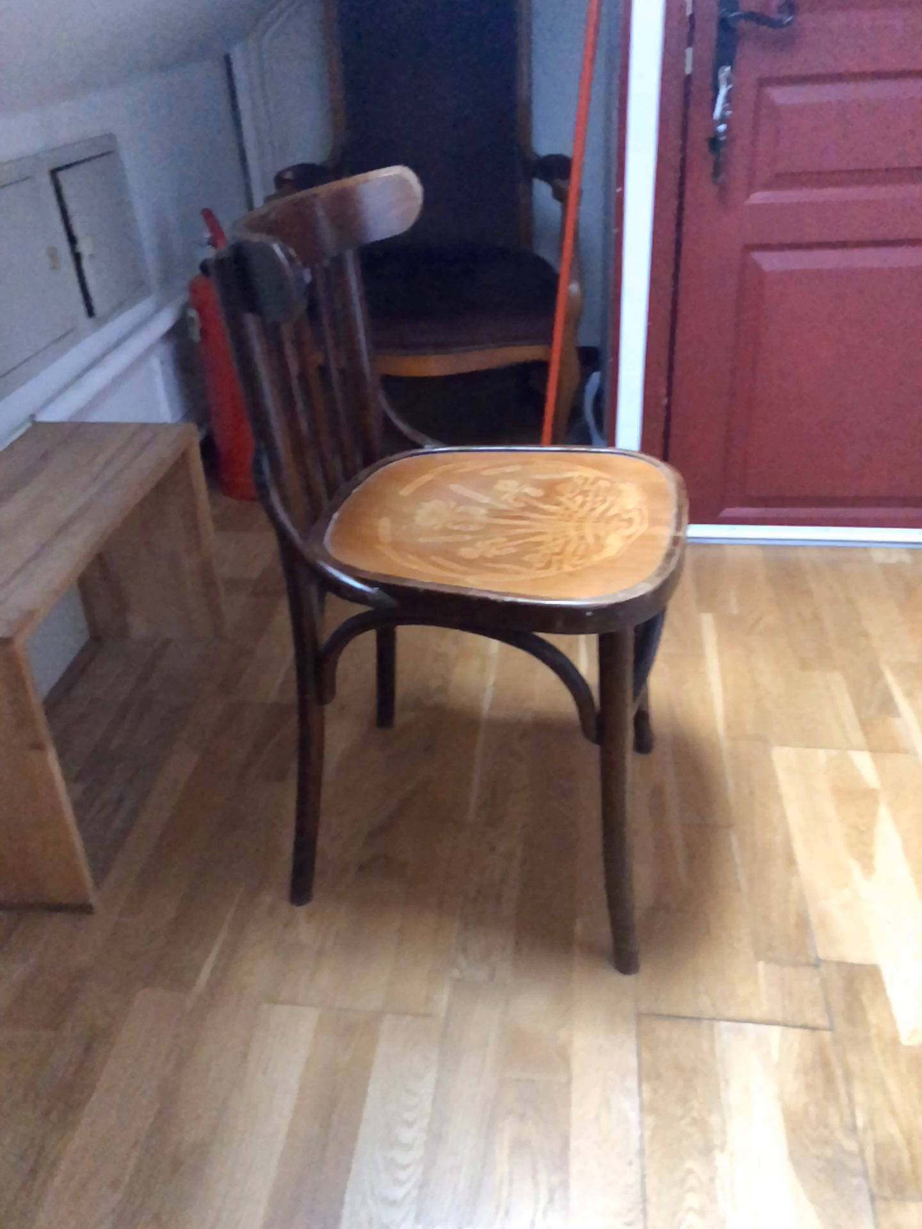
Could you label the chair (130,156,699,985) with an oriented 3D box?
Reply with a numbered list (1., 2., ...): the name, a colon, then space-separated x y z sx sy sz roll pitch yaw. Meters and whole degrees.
1. chair: 0.015 -0.057 1.082 0.411 0.737 0.445 3 31 10
